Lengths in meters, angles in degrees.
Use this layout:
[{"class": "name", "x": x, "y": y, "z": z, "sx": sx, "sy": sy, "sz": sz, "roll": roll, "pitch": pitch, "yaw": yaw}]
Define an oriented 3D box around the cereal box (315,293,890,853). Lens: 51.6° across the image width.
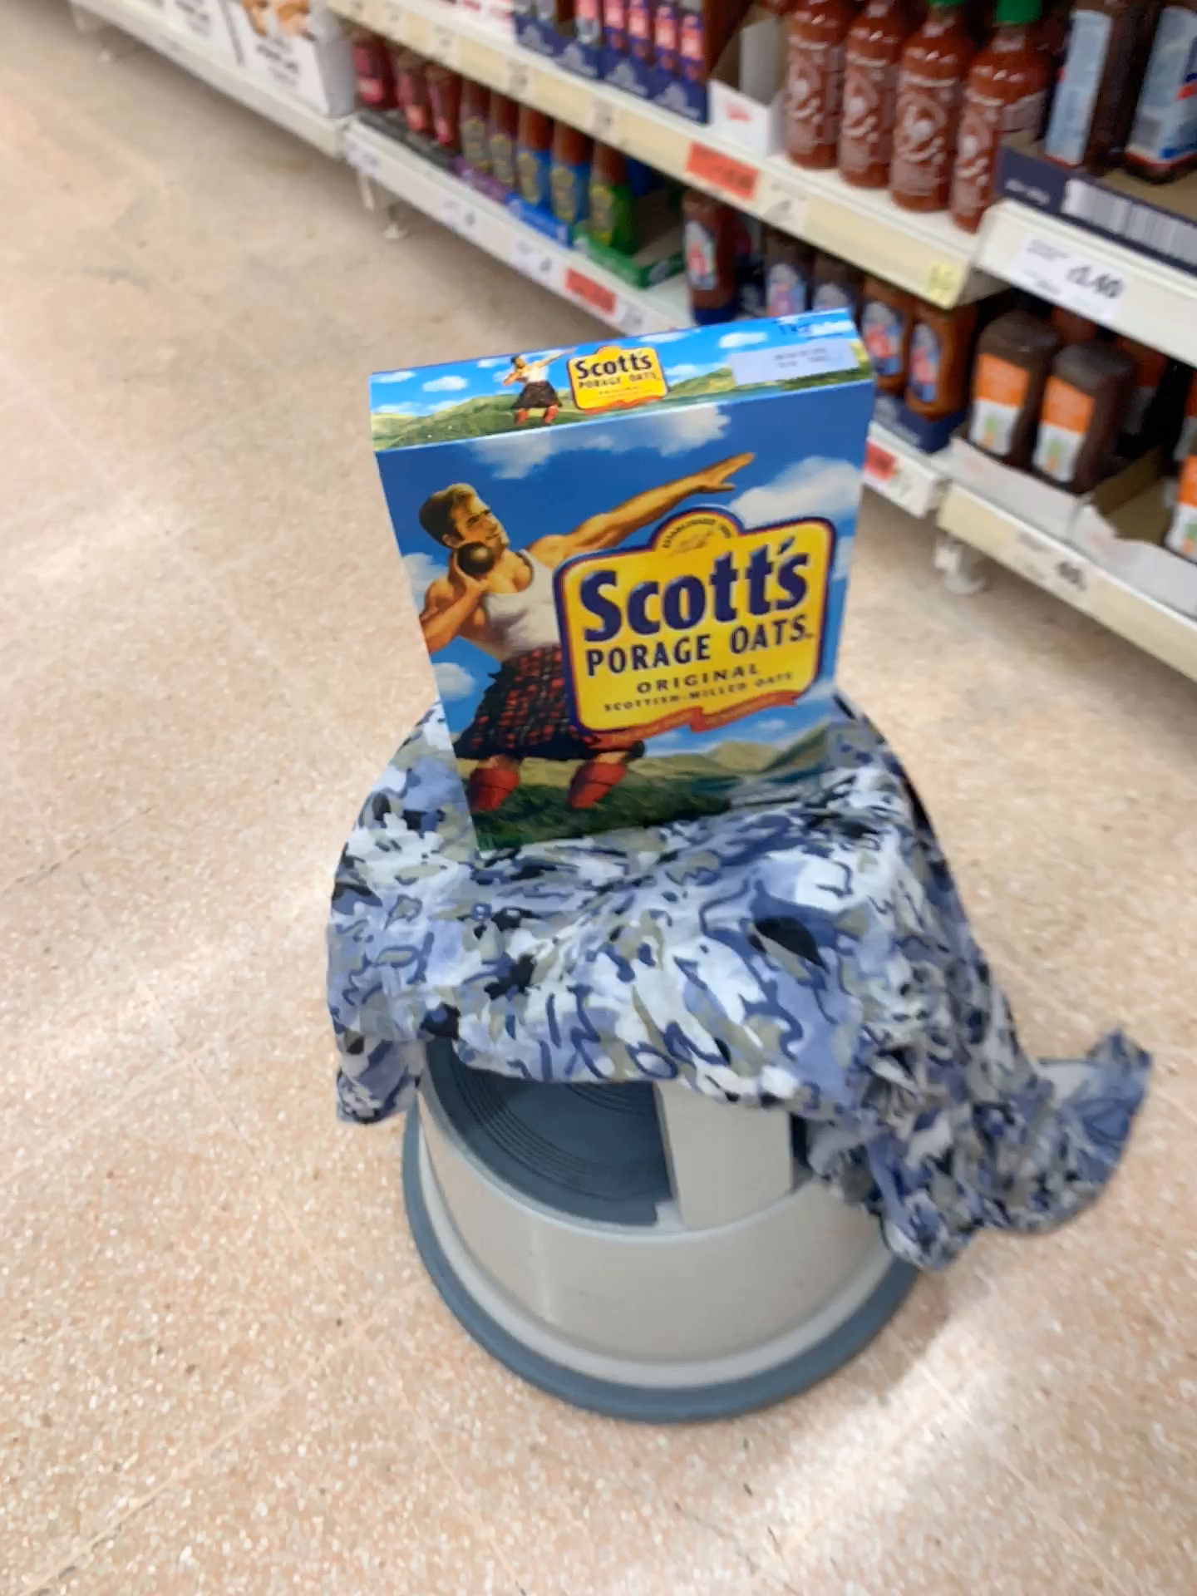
[{"class": "cereal box", "x": 0.008, "y": -0.085, "z": 0.564, "sx": 0.210, "sy": 0.248, "sz": 0.061, "roll": -9, "pitch": 53, "yaw": -1}]
